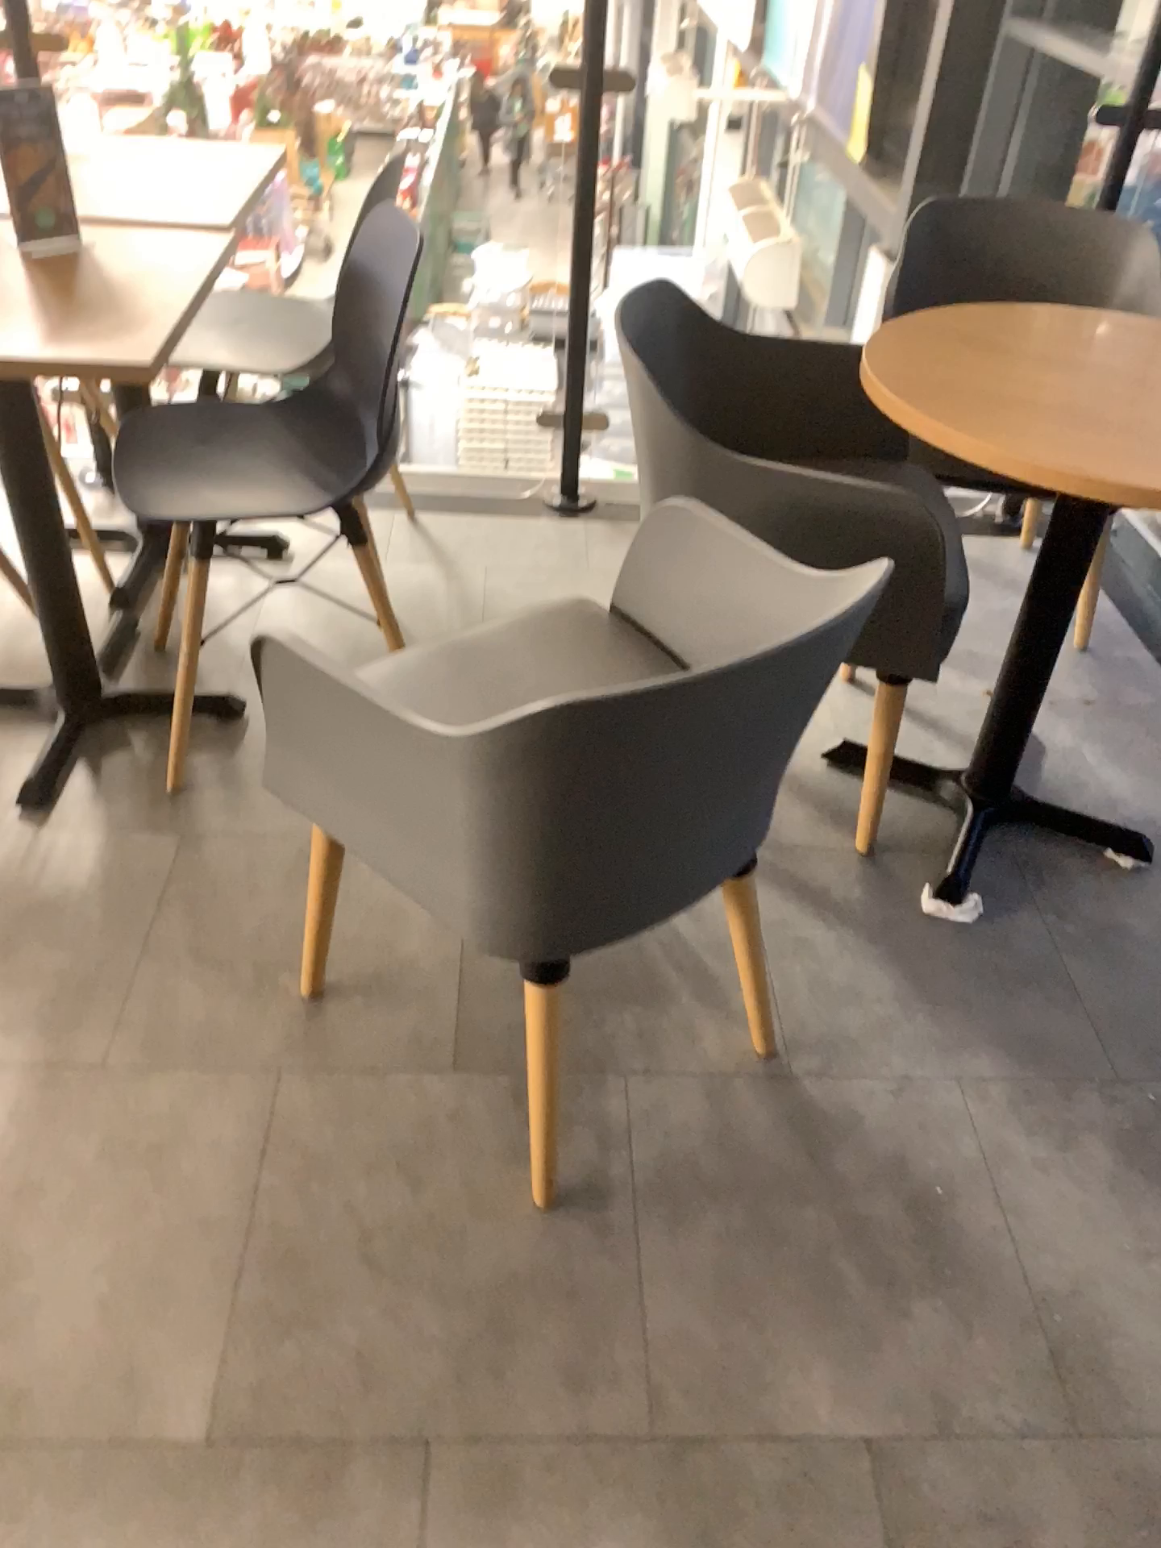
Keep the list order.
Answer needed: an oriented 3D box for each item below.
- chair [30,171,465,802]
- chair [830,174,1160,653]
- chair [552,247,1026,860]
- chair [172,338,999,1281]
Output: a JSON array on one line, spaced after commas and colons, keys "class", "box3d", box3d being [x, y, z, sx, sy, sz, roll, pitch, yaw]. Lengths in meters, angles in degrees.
[{"class": "chair", "box3d": [-0.493, -0.449, 1.833, 0.510, 0.784, 0.478, -9, 40, -18]}, {"class": "chair", "box3d": [0.840, -0.728, 2.373, 0.483, 0.725, 0.585, 5, 37, 1]}, {"class": "chair", "box3d": [0.280, -0.346, 1.842, 0.540, 0.725, 0.518, 8, 38, 5]}, {"class": "chair", "box3d": [-0.027, 0.006, 1.352, 0.546, 0.734, 0.583, -25, 47, -33]}]
